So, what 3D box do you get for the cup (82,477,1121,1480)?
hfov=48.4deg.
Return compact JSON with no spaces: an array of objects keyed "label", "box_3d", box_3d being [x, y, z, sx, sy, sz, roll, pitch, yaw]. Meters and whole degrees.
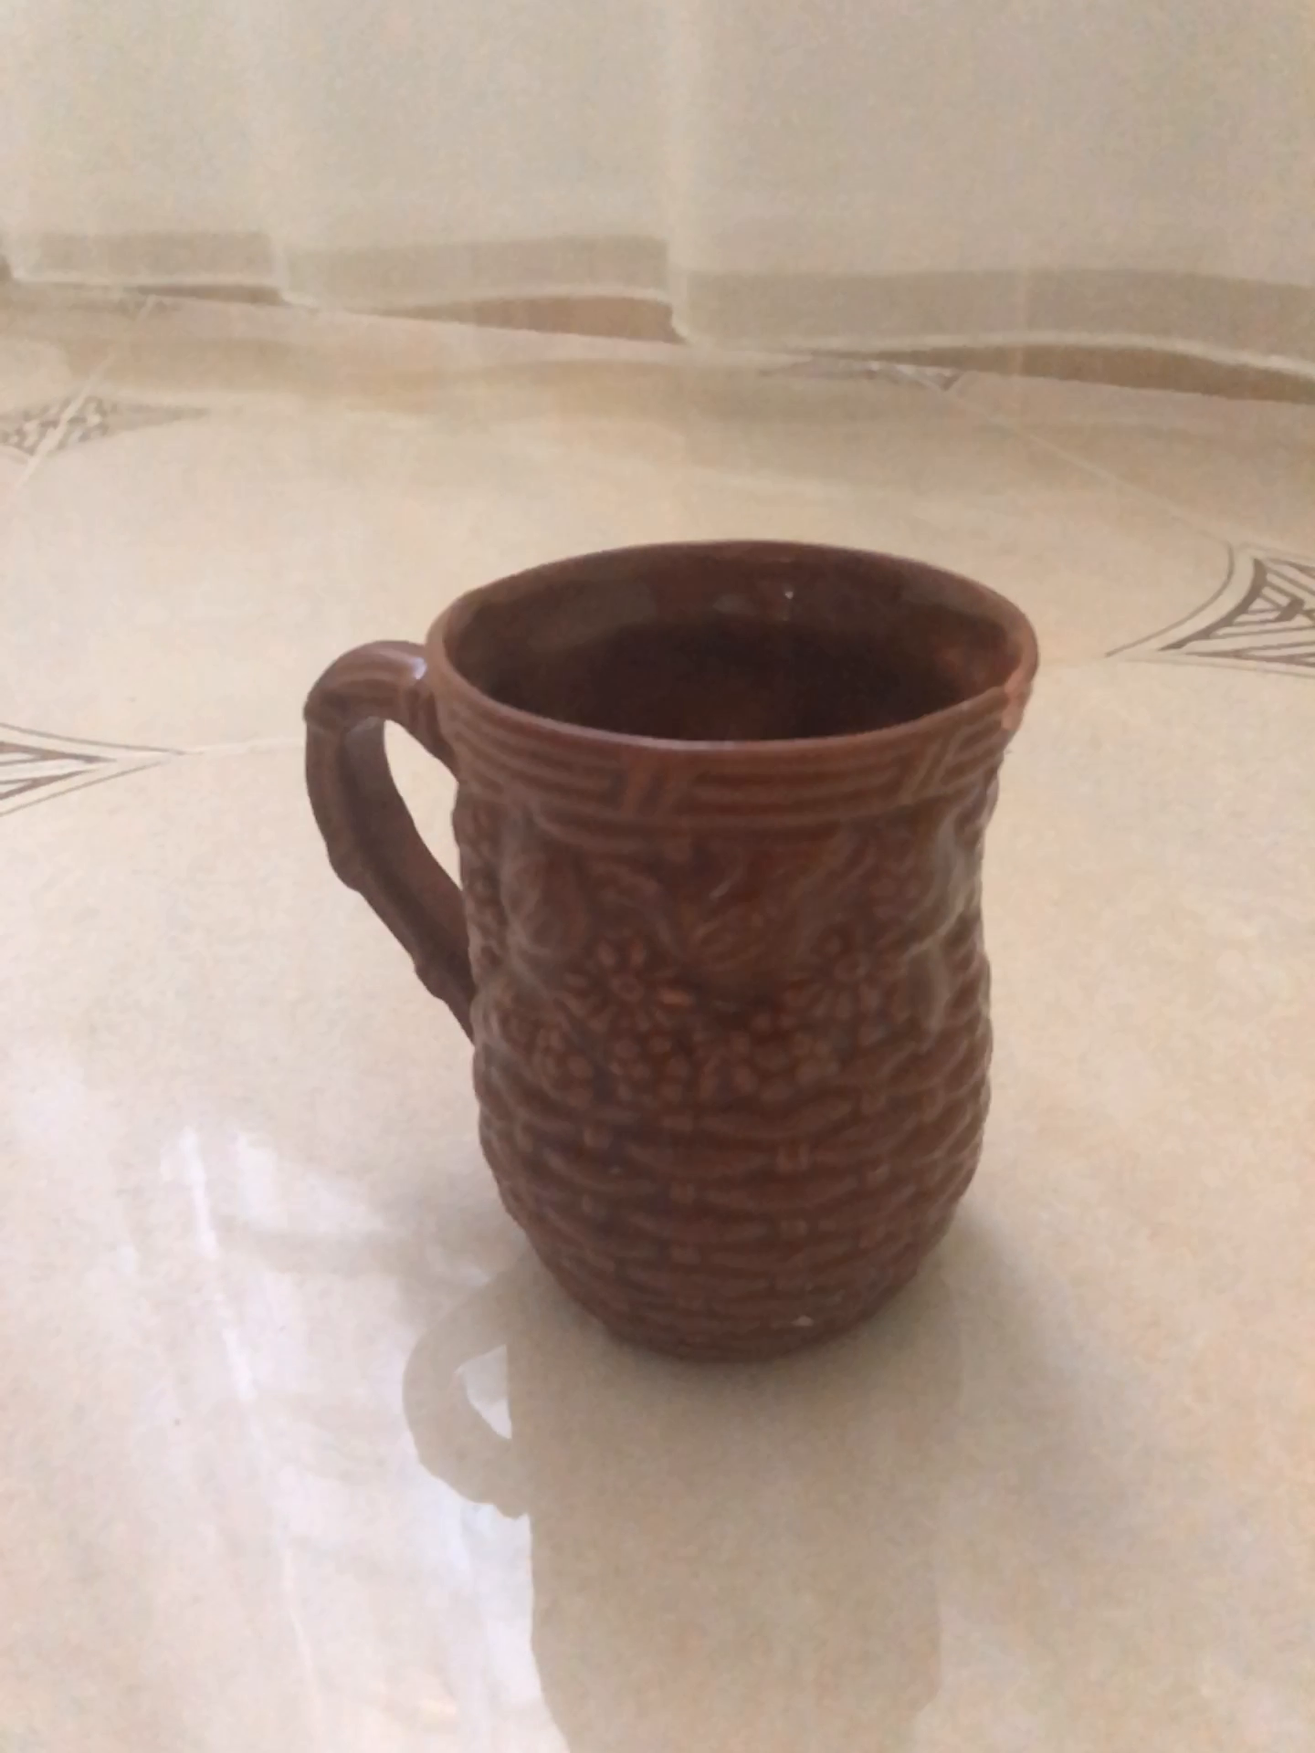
[{"label":"cup","box_3d":[-0.008,0.002,0.196,0.105,0.081,0.073,21,36,35]}]
